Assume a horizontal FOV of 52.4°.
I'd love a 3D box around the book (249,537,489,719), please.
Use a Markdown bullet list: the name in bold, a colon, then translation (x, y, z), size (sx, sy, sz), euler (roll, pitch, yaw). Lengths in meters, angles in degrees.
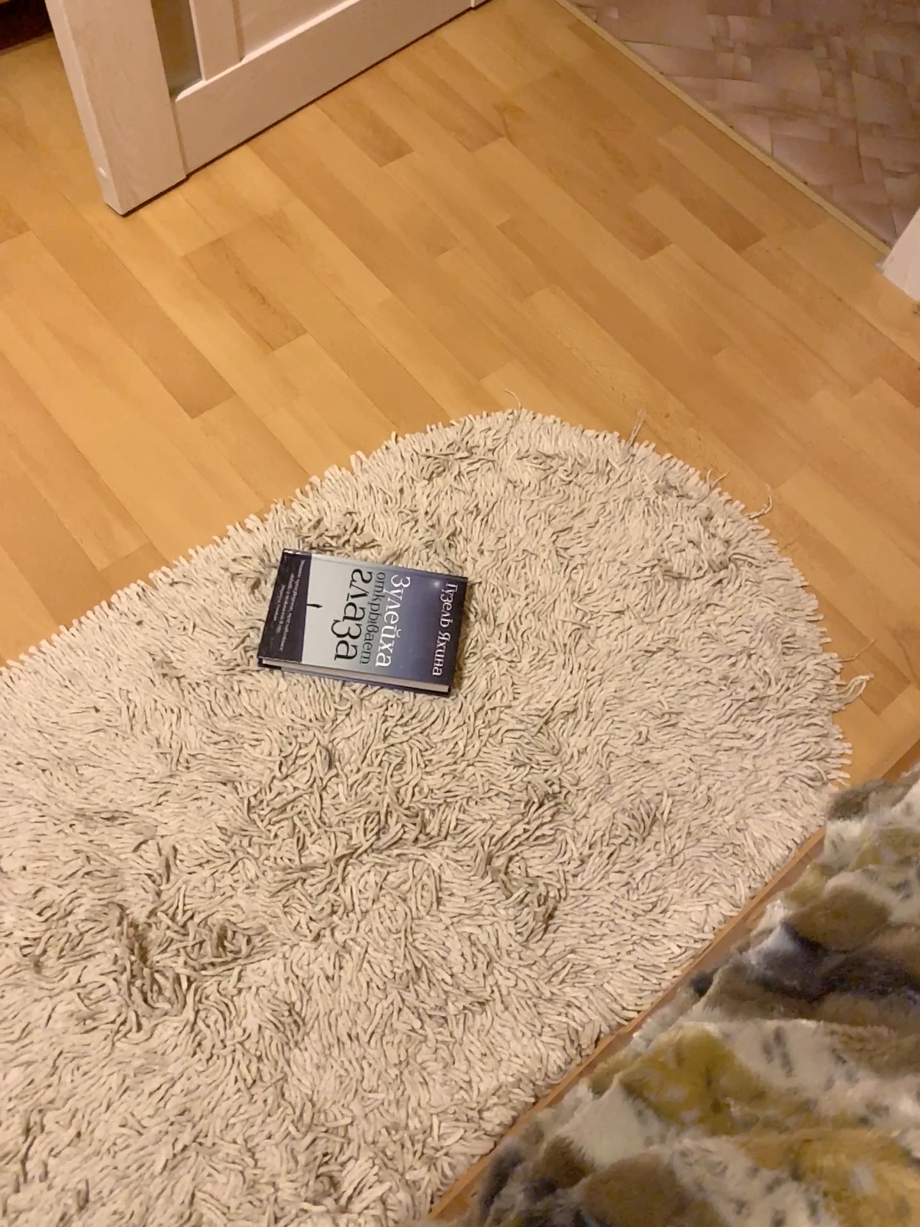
- **book**: translation (-0.090, 0.014, 0.971), size (0.220, 0.040, 0.151), euler (10, 64, -1)
